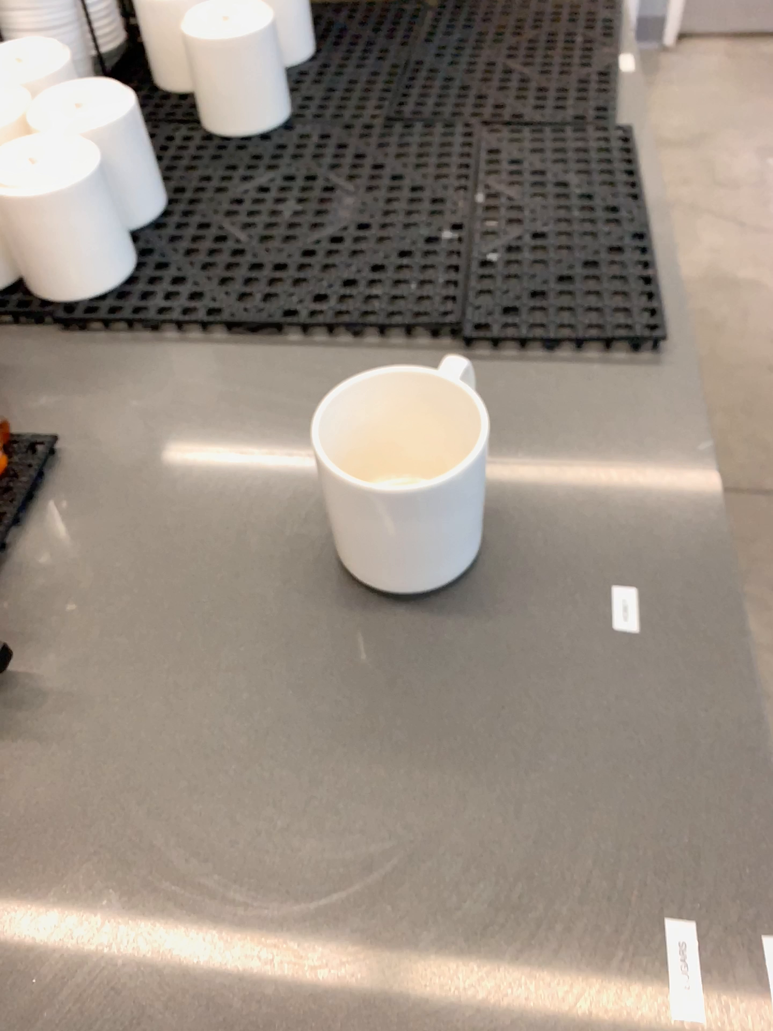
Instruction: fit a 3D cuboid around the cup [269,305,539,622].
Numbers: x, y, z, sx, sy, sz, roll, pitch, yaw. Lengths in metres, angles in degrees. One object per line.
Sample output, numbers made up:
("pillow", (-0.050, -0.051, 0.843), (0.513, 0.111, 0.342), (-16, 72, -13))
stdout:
("cup", (0.015, -0.030, 0.425), (0.090, 0.090, 0.120), (17, 54, 18))
